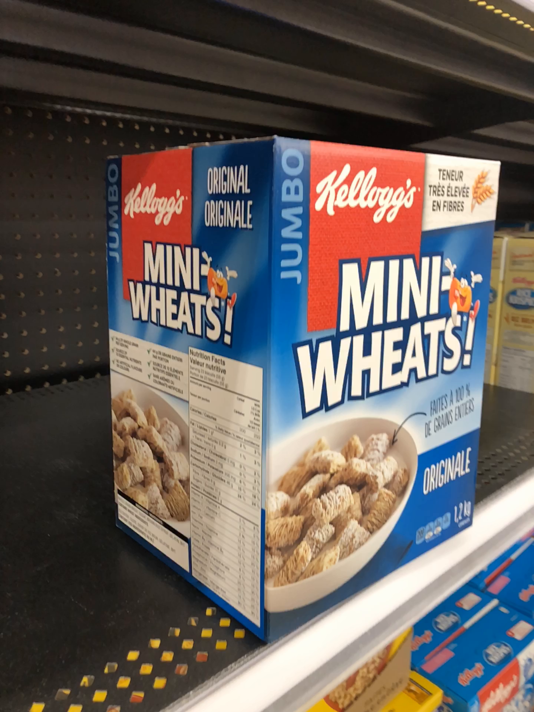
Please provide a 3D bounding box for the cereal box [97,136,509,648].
[{"bbox_3d":[0.022,-0.002,0.404,0.200,0.249,0.170,-11,17,-40],"label":"cereal box"}]
